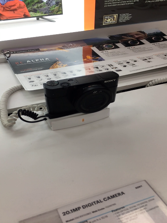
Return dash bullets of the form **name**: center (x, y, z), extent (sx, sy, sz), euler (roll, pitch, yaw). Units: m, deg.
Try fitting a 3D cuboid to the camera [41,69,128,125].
- **camera**: center (0.002, -0.022, 0.331), extent (0.113, 0.065, 0.030), euler (-14, 49, -15)
